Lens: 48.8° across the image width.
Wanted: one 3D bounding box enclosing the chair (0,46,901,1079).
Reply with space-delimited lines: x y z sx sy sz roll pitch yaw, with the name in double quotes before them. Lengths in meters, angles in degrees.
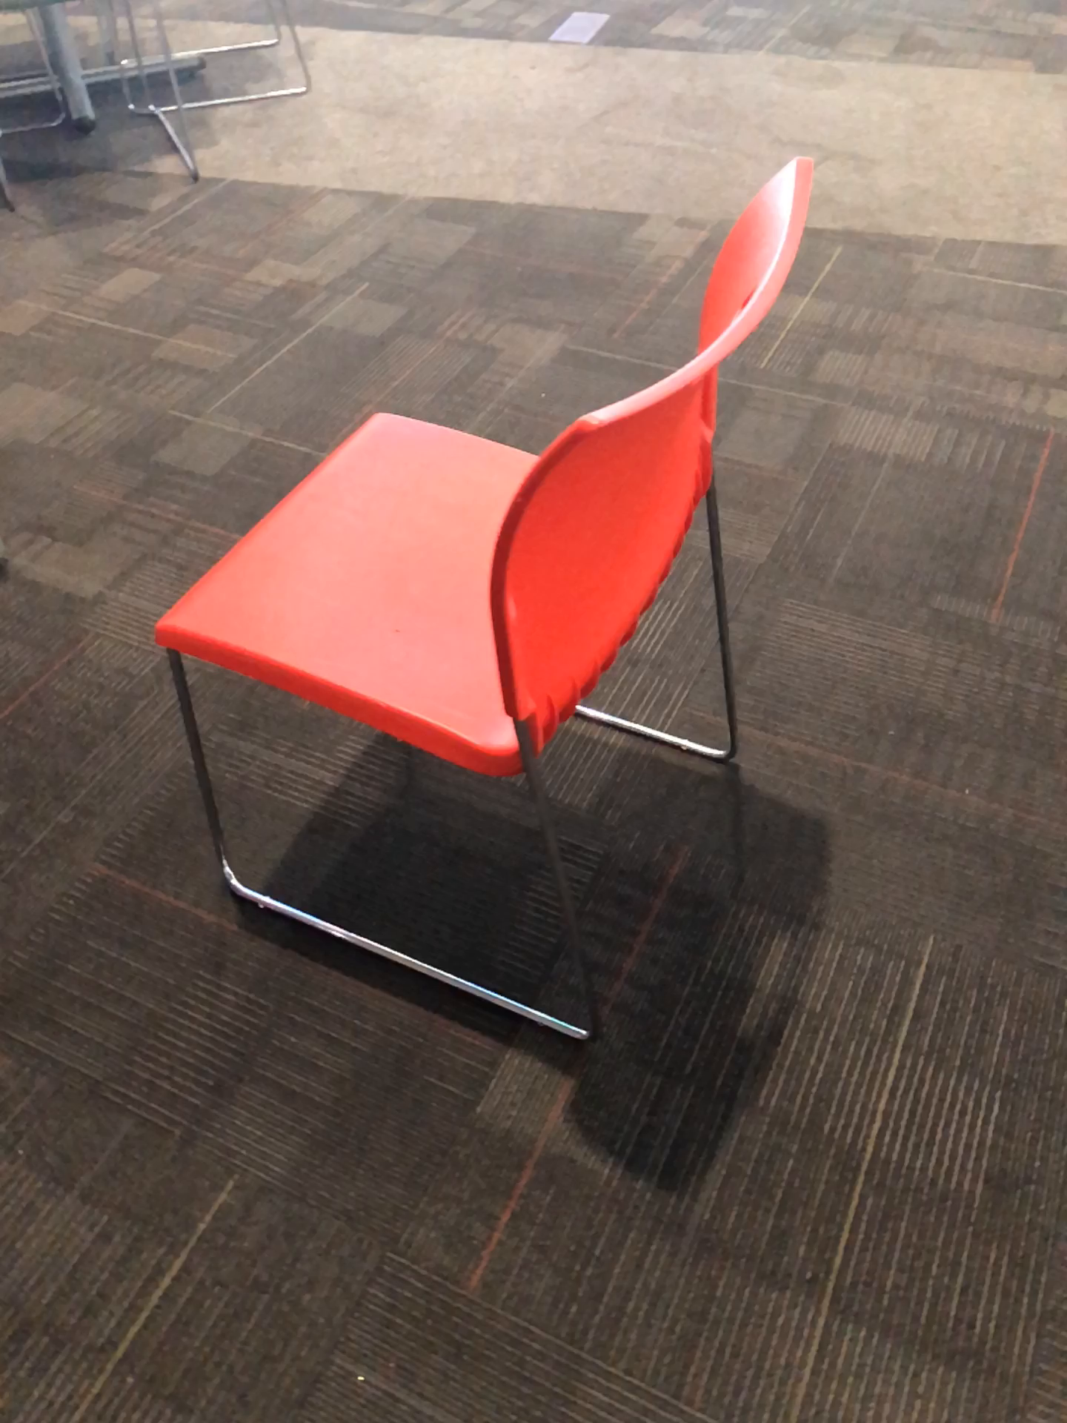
"chair" -0.063 -0.158 1.232 0.611 0.767 0.562 18 49 19
